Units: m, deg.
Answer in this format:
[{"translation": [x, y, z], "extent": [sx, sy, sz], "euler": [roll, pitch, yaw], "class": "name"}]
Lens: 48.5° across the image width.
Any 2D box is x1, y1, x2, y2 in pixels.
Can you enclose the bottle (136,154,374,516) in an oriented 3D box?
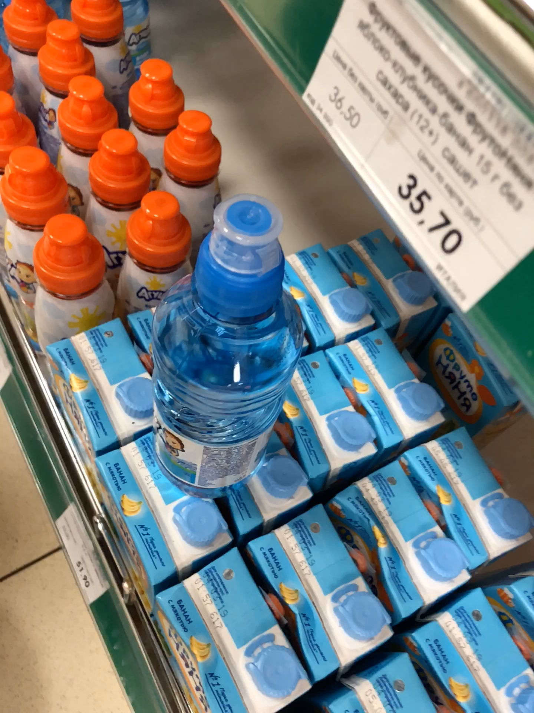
[{"translation": [-0.019, 0.007, 0.253], "extent": [0.056, 0.174, 0.060], "euler": [5, 59, -8], "class": "bottle"}]
